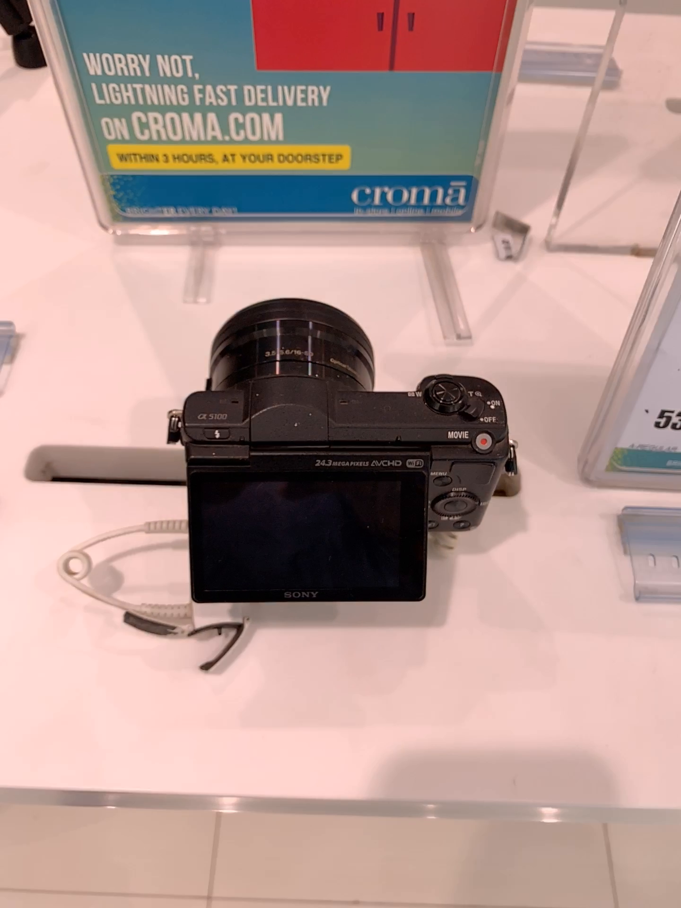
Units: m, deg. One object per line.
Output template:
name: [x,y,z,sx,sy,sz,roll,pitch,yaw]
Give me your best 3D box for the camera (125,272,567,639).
camera: [0.001,0.003,0.236,0.110,0.082,0.088,2,56,-1]
